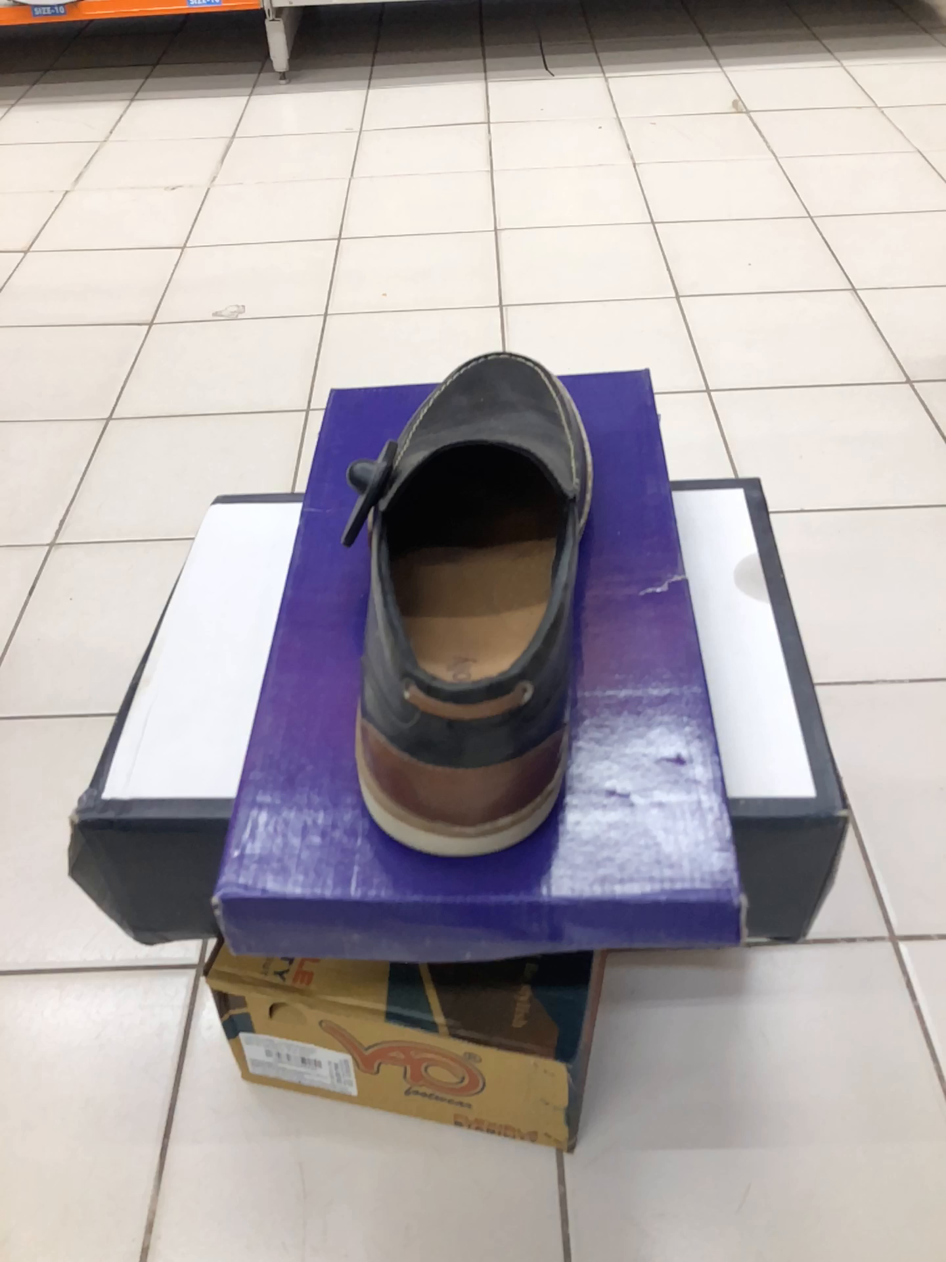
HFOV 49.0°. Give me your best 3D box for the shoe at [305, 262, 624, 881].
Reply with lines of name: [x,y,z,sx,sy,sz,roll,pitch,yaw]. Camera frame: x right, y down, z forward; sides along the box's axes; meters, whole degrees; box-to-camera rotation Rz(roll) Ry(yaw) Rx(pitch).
shoe: [0.002,-0.048,0.472,0.100,0.109,0.302,-1,44,2]
